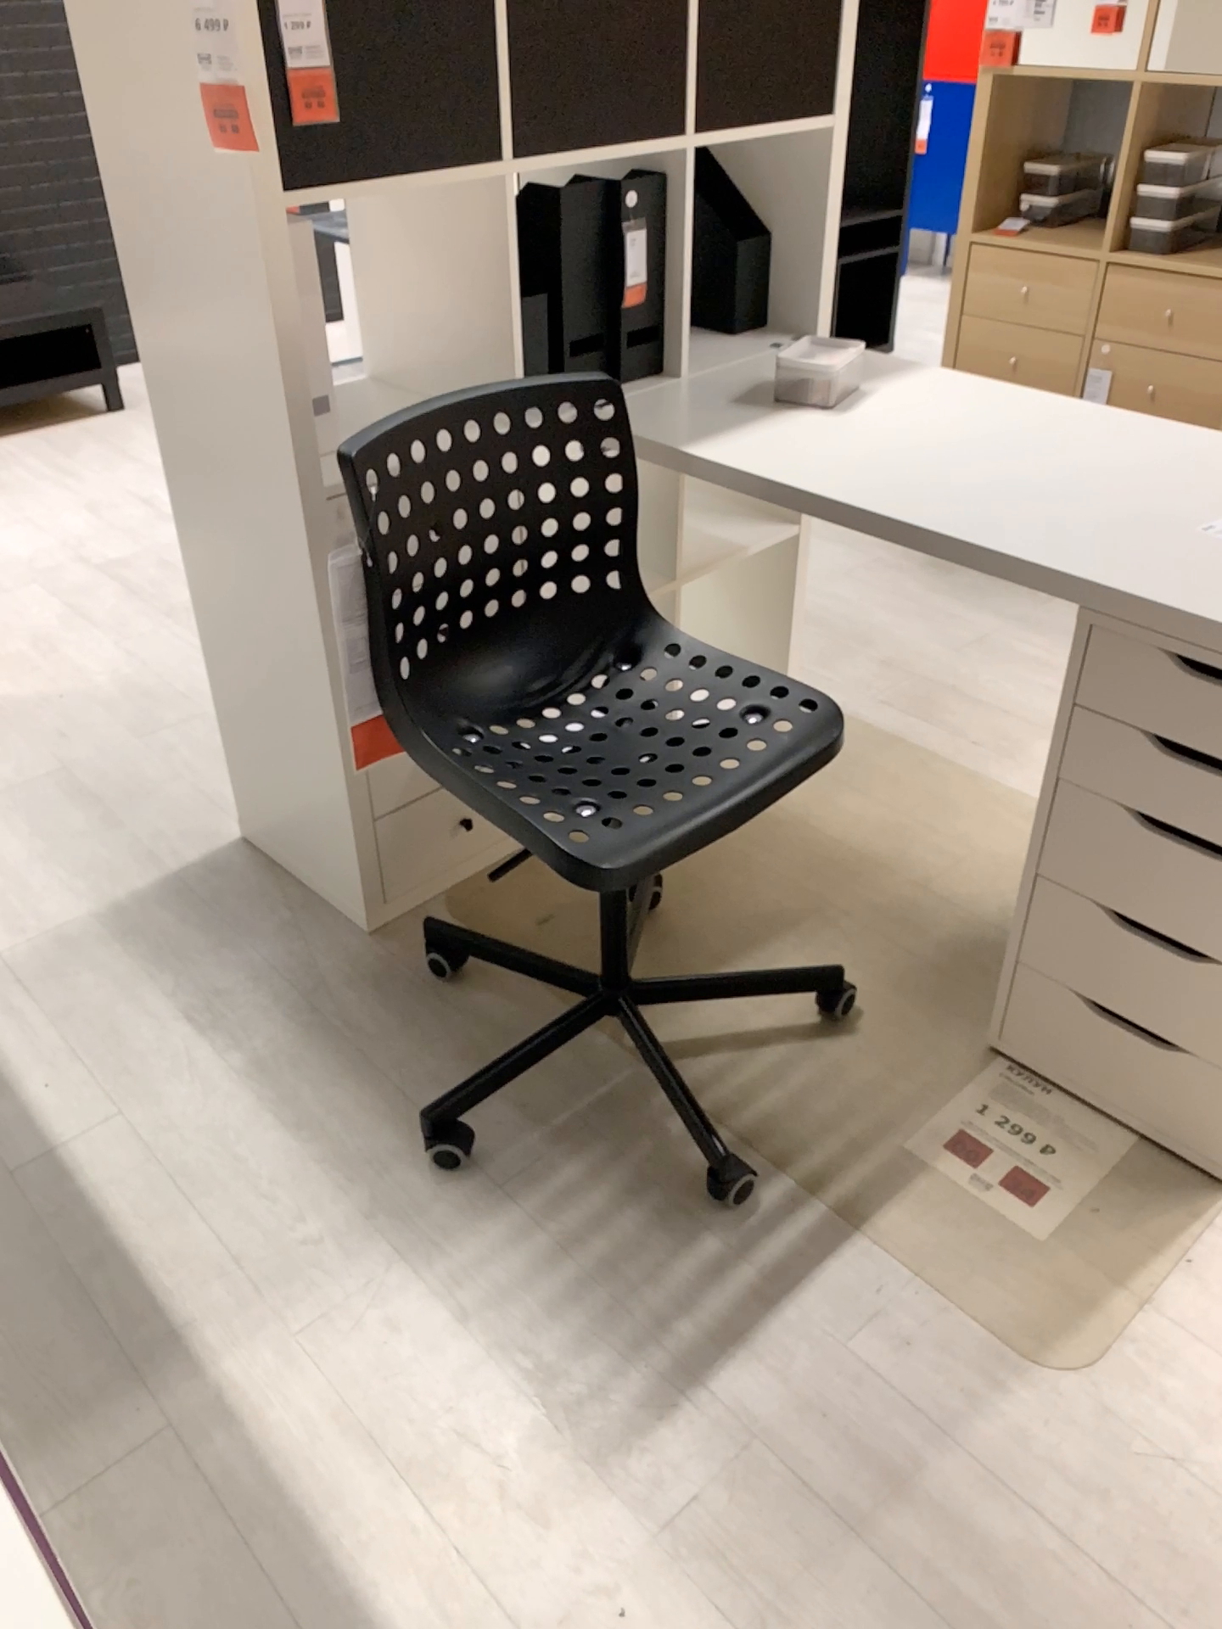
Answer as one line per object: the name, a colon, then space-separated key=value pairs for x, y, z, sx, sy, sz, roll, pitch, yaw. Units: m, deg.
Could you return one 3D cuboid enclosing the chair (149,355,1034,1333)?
chair: x=-0.032 y=-0.028 z=1.672 sx=0.682 sy=0.865 sz=0.752 roll=-28 pitch=43 yaw=-33
